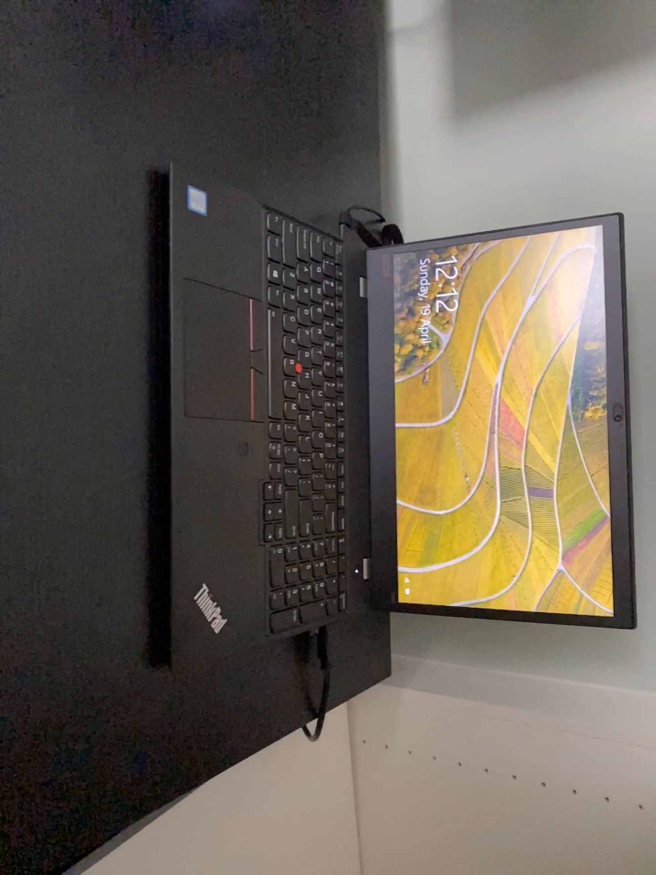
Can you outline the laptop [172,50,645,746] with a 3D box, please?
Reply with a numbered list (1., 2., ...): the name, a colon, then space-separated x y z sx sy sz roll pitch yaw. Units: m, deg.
1. laptop: 0.078 -0.015 0.517 0.295 0.231 0.351 4 84 -54
